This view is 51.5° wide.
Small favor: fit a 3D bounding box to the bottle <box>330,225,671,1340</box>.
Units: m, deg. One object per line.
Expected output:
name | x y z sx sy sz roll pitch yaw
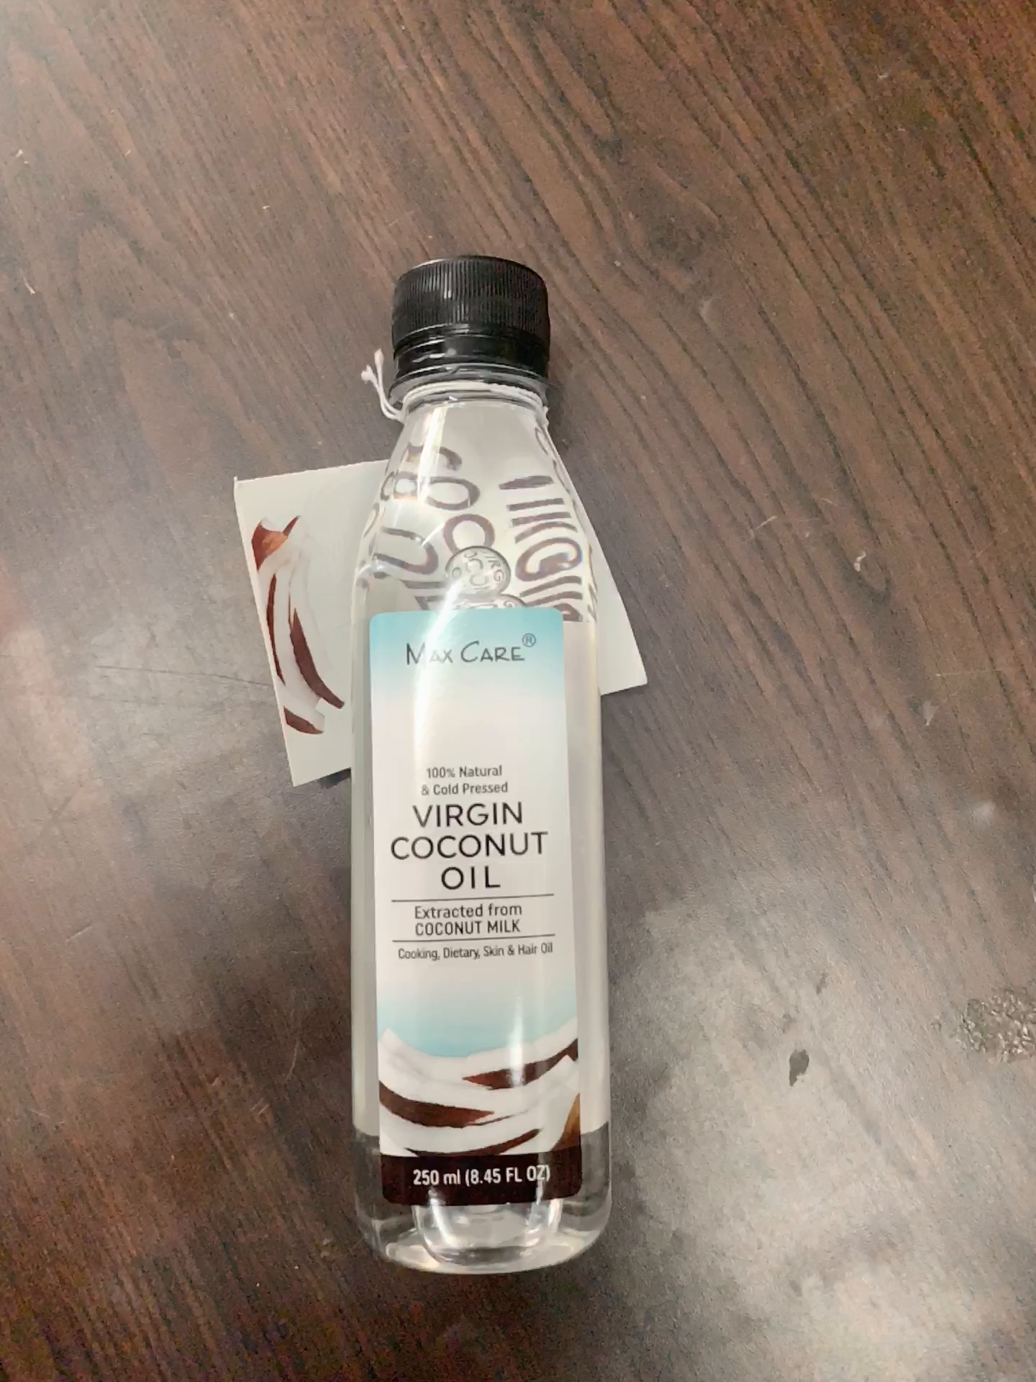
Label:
bottle | -0.004 0.012 0.190 0.050 0.050 0.170 0 85 -1
